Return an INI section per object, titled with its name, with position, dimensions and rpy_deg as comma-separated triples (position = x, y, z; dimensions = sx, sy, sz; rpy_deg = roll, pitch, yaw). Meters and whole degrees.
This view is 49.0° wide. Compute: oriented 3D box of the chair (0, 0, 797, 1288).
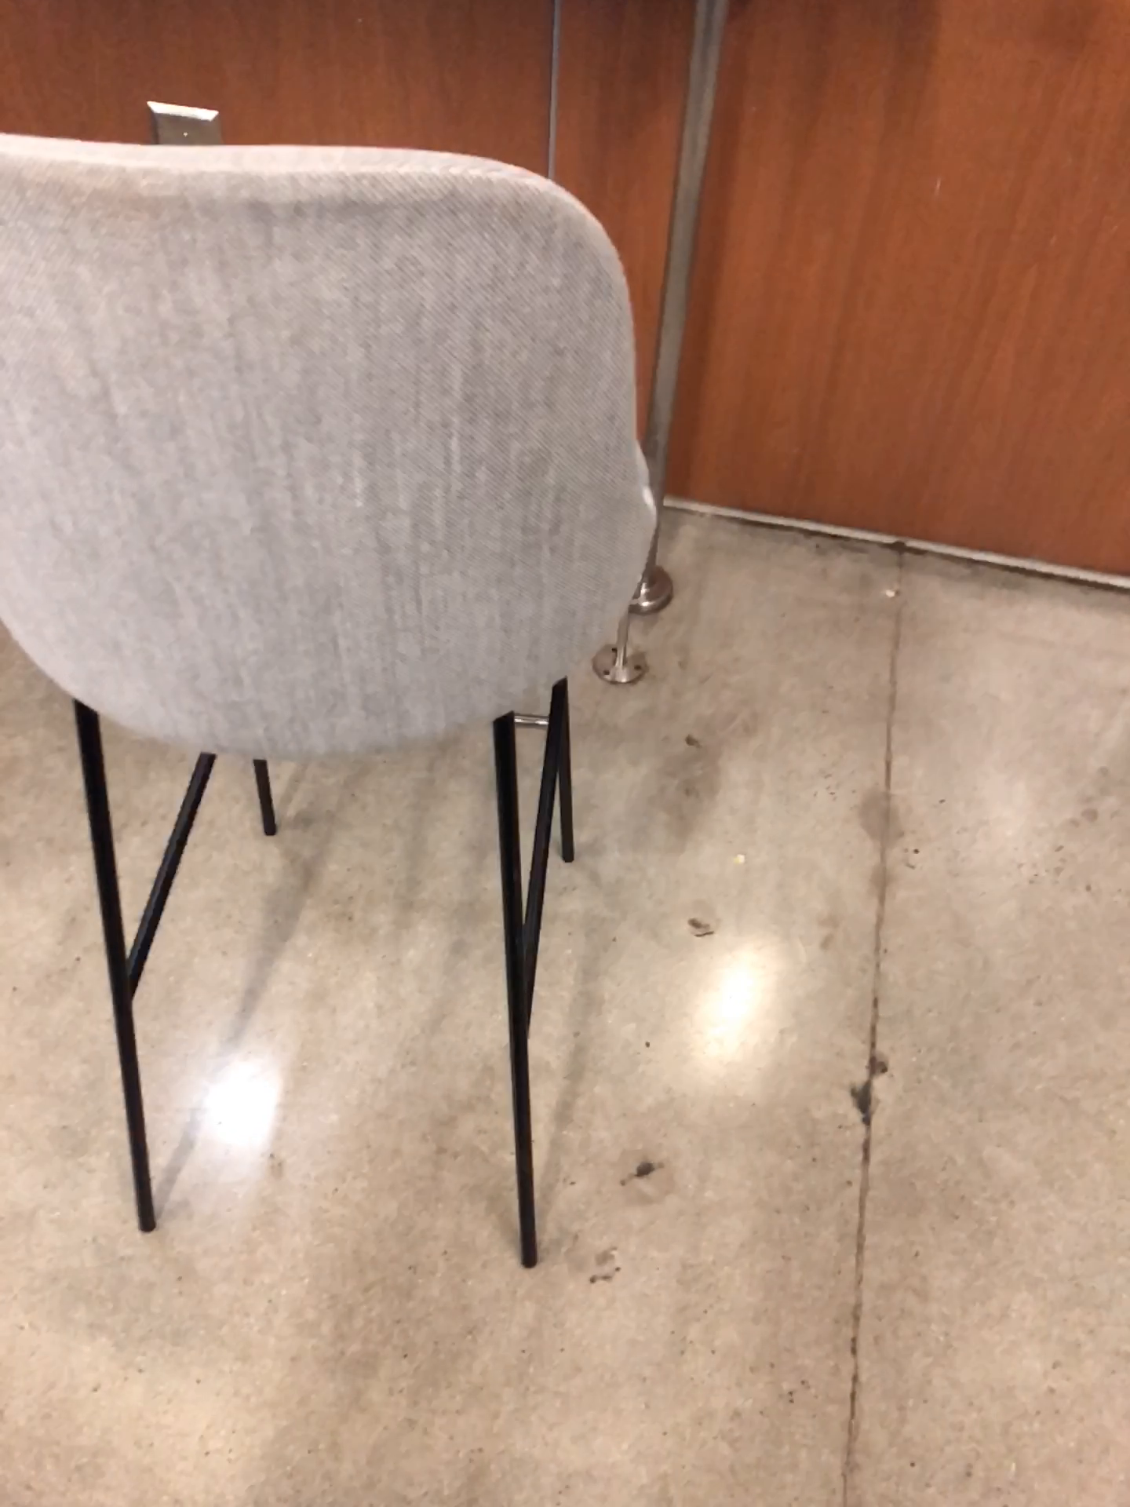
[chair]
position = -0.154, -0.086, 1.016
dimensions = 0.460, 1.096, 0.622
rpy_deg = 6, 49, 1
